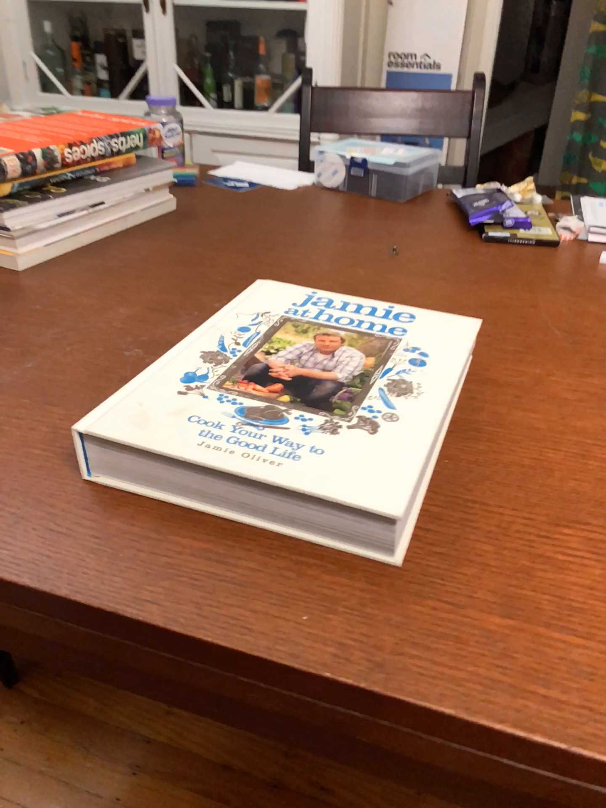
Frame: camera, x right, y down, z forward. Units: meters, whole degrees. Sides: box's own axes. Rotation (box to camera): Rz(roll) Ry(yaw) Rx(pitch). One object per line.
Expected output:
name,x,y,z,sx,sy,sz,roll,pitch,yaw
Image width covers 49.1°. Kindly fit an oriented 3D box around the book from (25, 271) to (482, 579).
book,-0.009,-0.015,0.450,0.210,0.040,0.261,12,33,18
